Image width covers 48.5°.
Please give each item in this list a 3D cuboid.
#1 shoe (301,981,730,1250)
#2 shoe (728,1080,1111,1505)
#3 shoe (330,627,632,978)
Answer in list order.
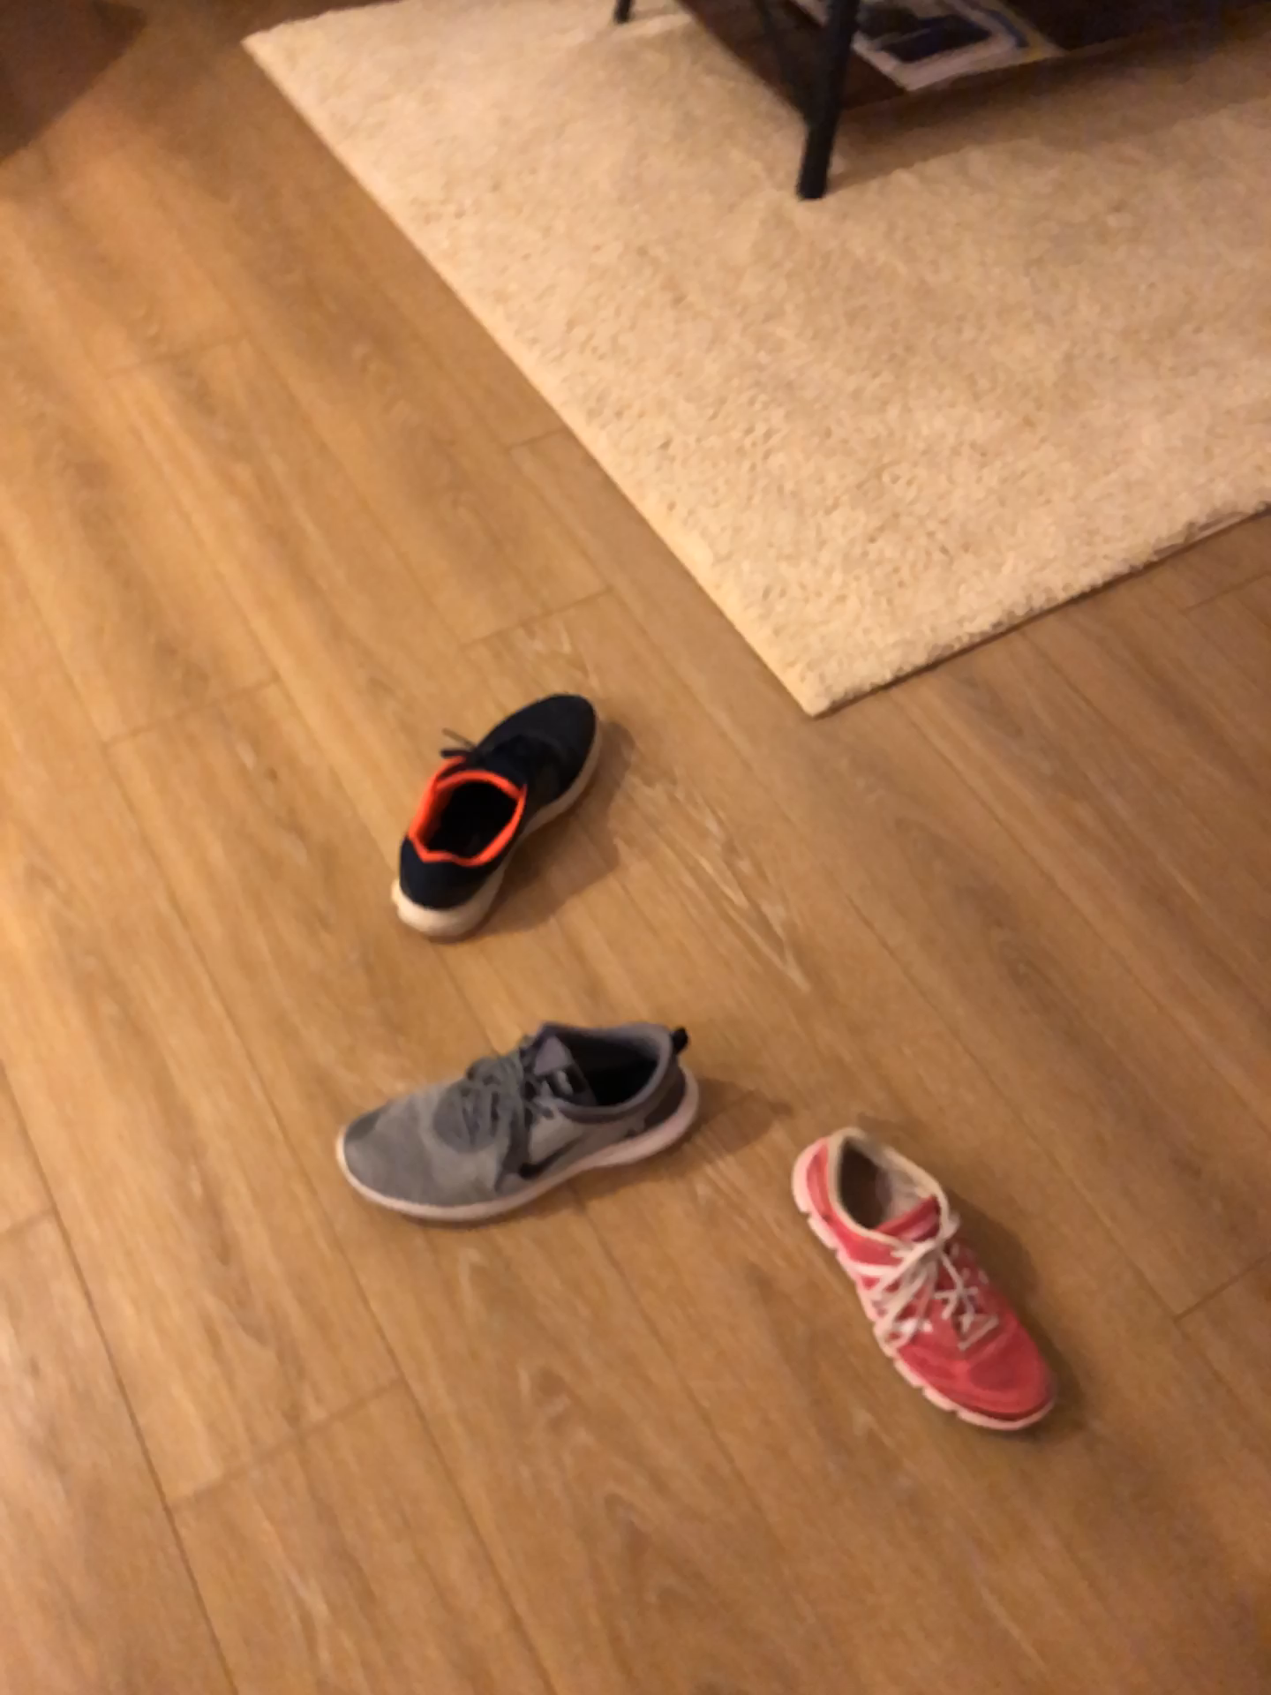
[{"bbox_3d":[-0.098,0.217,1.157,0.320,0.080,0.130,-11,57,-11],"label":"shoe"},{"bbox_3d":[0.214,0.343,1.111,0.130,0.090,0.280,-29,62,-21],"label":"shoe"},{"bbox_3d":[-0.139,-0.050,1.351,0.130,0.100,0.321,25,58,13],"label":"shoe"}]
